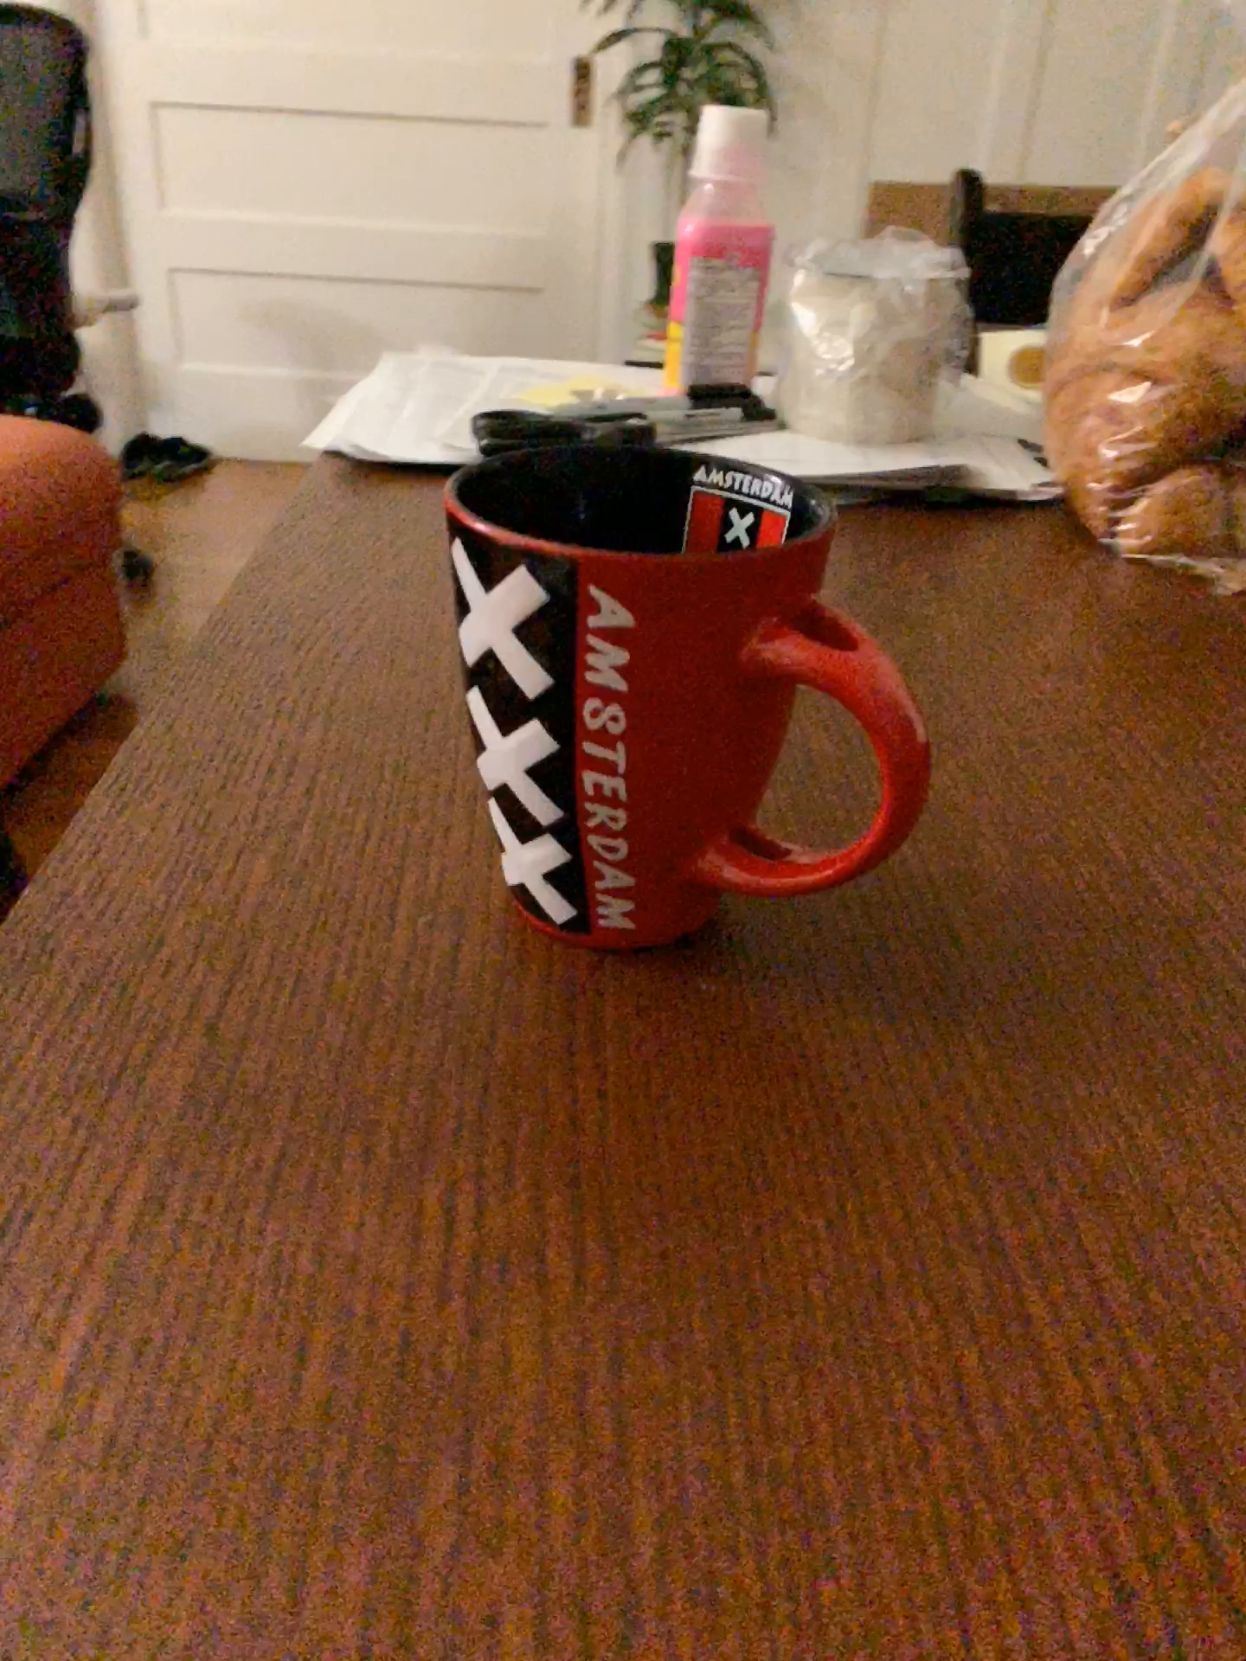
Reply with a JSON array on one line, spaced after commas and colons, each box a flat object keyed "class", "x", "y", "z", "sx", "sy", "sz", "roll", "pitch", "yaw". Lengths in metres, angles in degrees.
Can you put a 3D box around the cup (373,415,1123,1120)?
[{"class": "cup", "x": 0.021, "y": -0.026, "z": 0.294, "sx": 0.131, "sy": 0.099, "sz": 0.090, "roll": 28, "pitch": 38, "yaw": 36}]
